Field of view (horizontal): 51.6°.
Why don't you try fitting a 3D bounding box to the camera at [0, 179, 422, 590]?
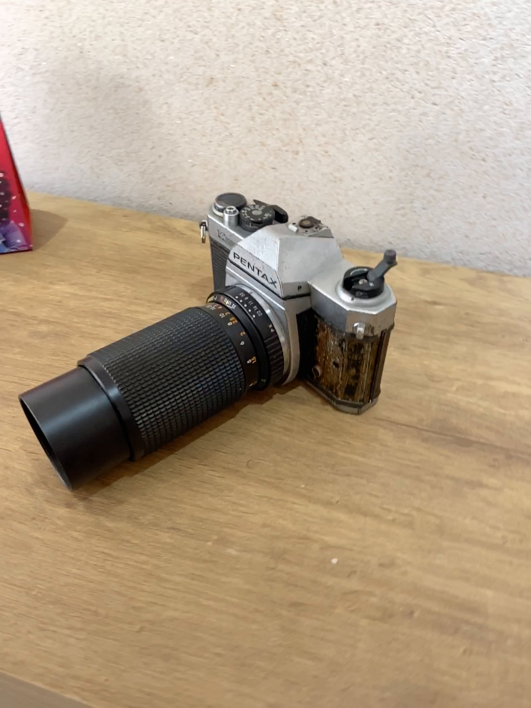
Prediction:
[{"bbox_3d":[-0.041,-0.007,0.291,0.181,0.079,0.150,-29,49,-30],"label":"camera"}]
